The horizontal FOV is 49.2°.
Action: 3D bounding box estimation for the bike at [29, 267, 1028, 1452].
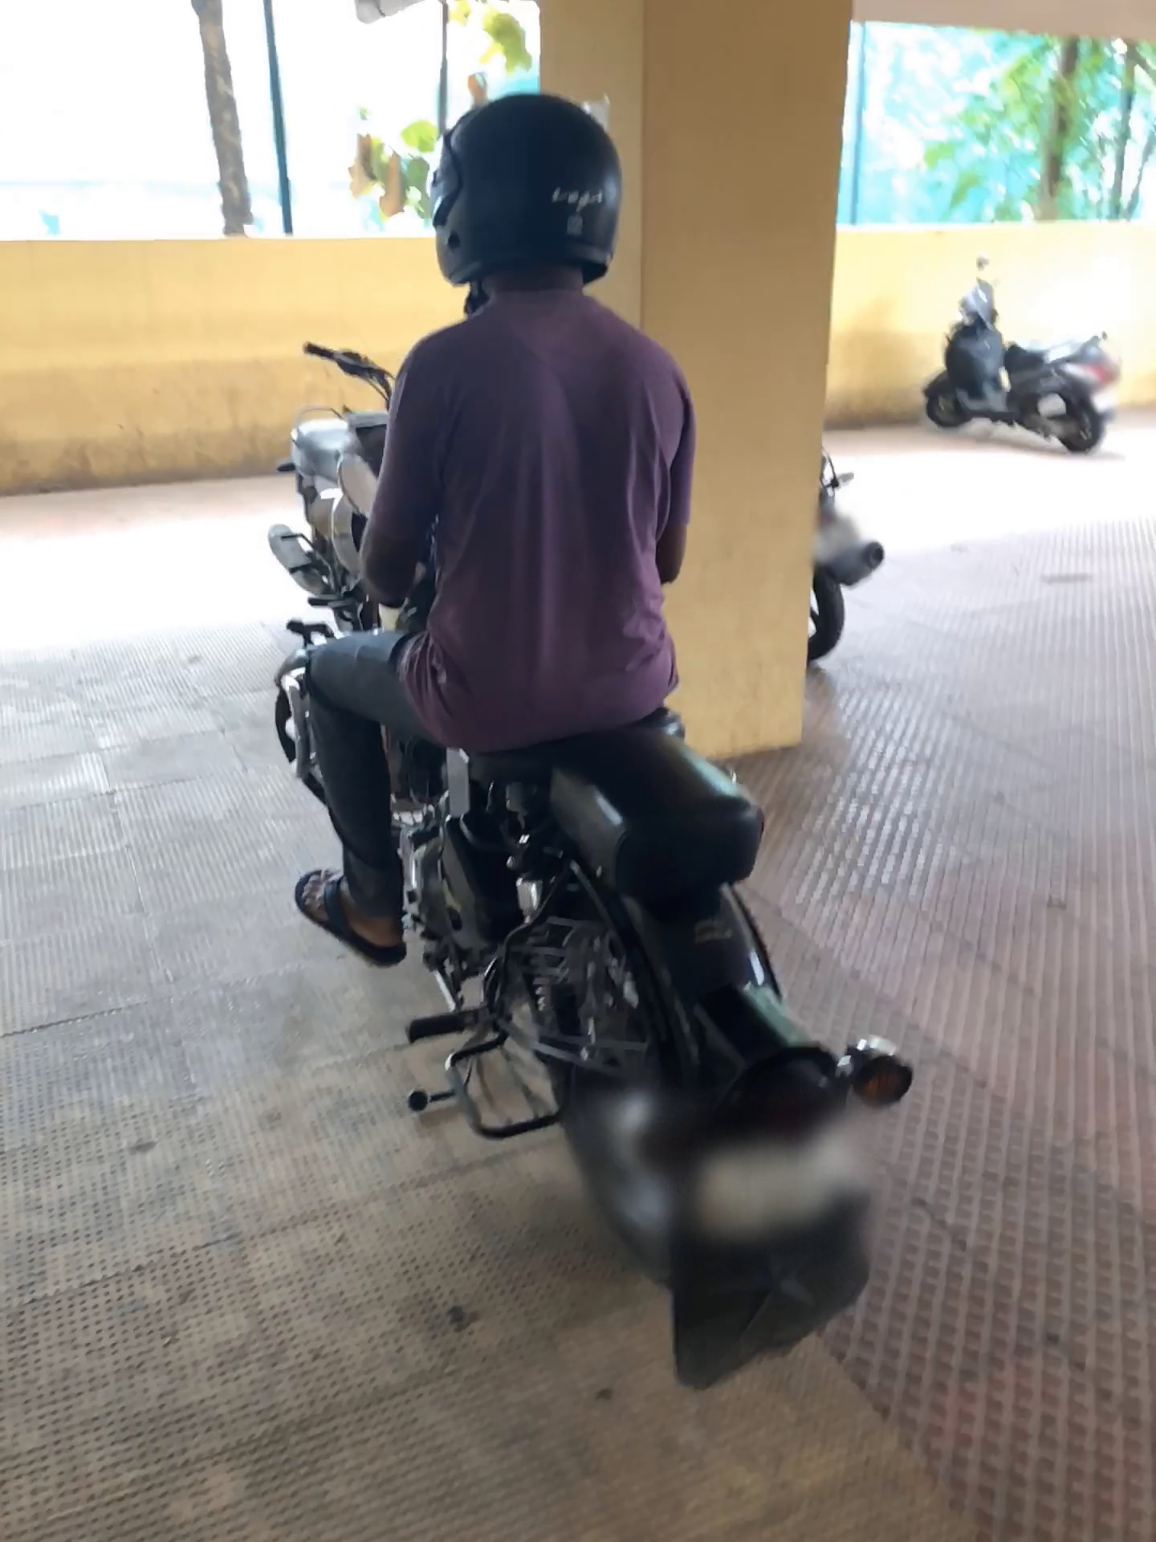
[{"bbox_3d":[-0.275,-0.117,2.150,0.726,1.097,1.770,-13,32,-27],"label":"bike"}]
